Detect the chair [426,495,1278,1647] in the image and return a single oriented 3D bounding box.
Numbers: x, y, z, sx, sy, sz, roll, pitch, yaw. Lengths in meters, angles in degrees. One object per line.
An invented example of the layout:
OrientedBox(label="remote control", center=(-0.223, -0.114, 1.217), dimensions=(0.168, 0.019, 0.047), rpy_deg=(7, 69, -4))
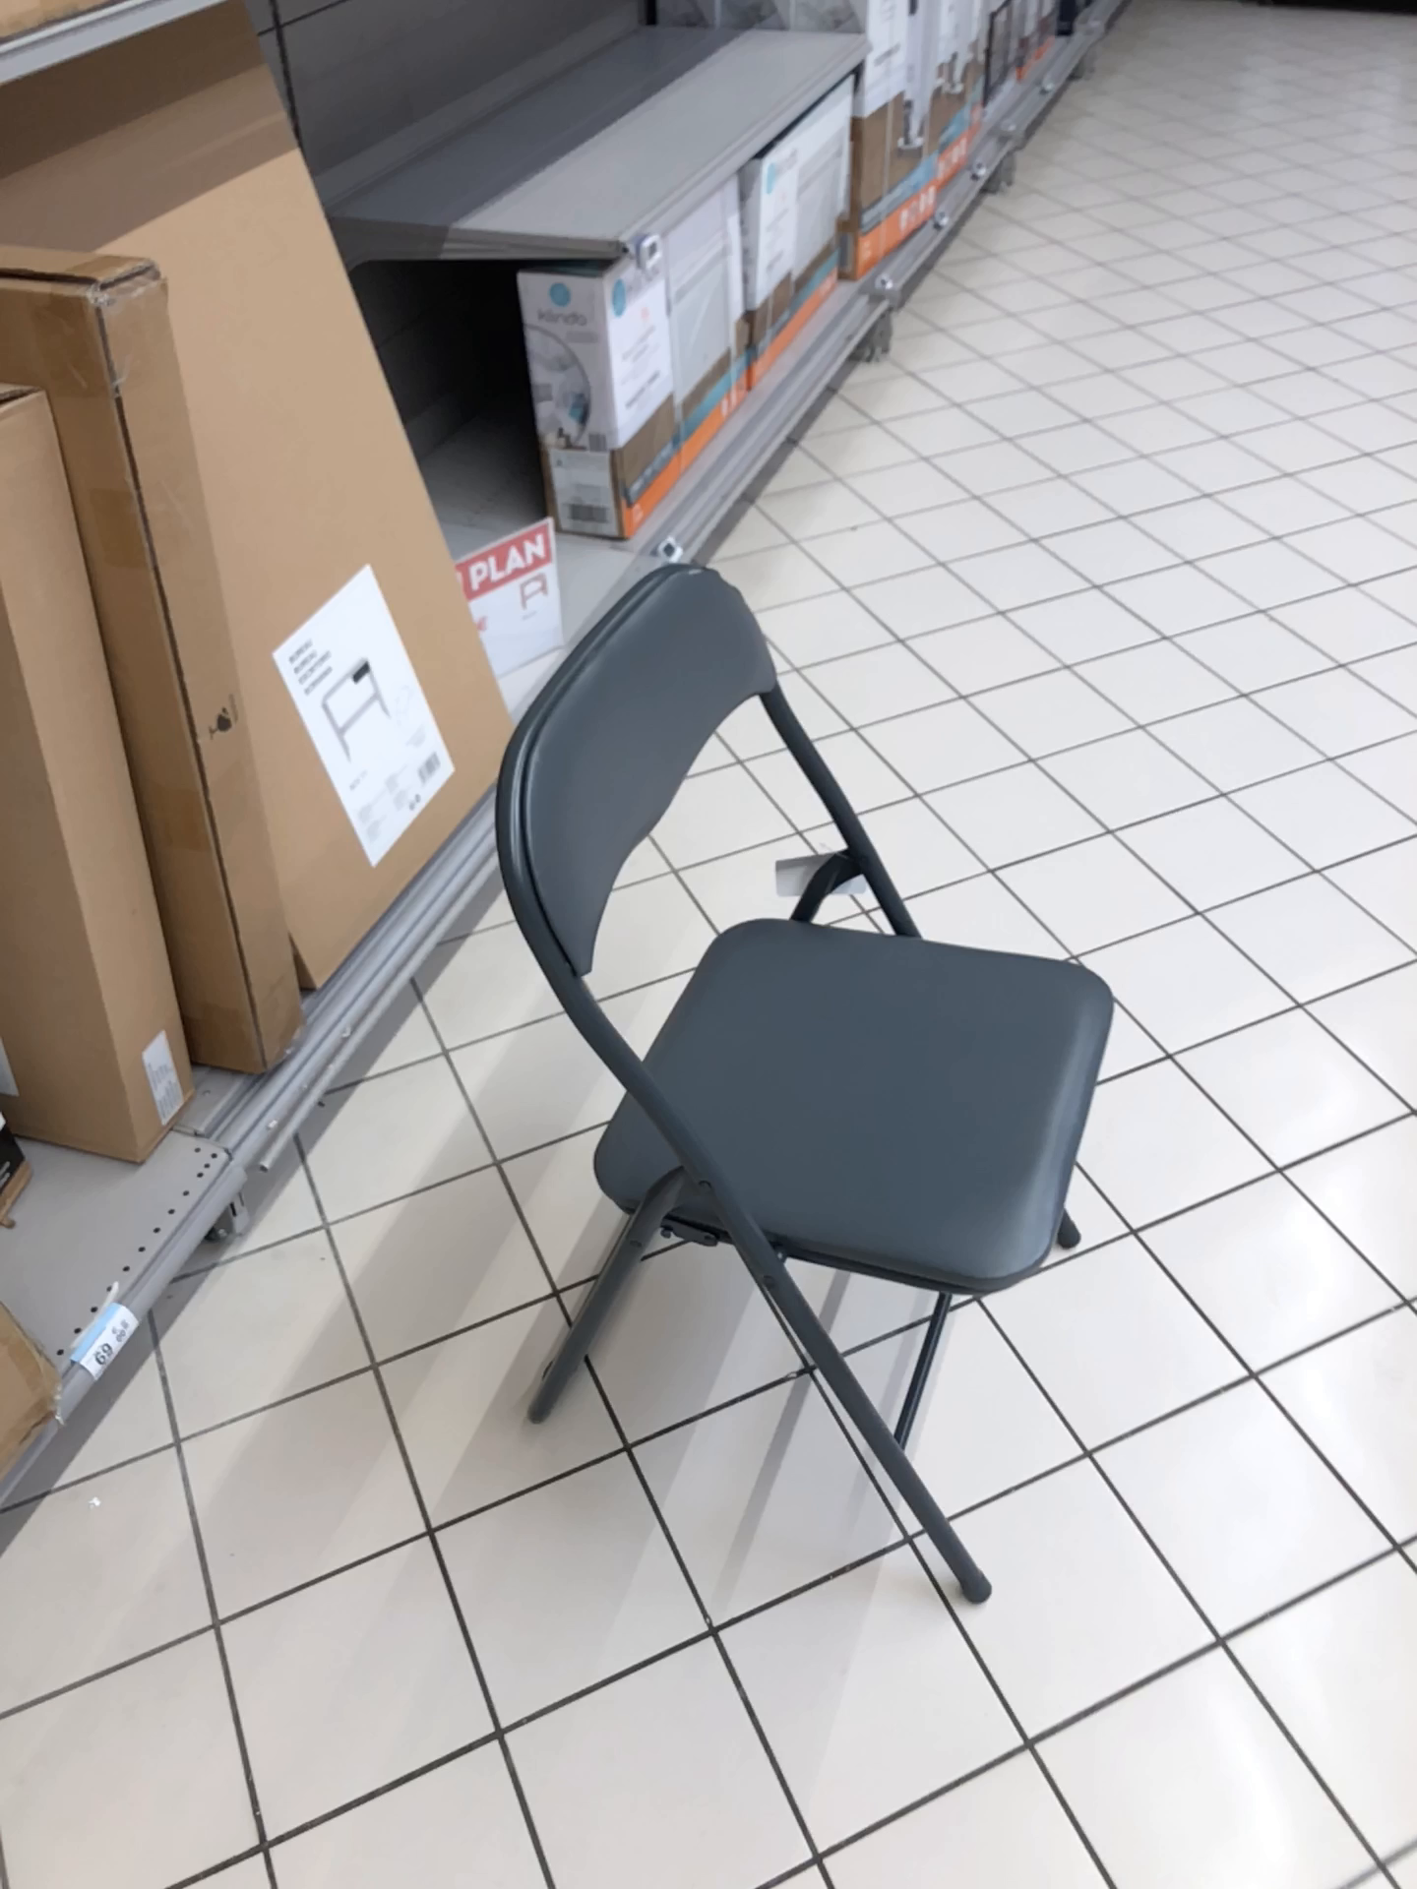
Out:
OrientedBox(label="chair", center=(0.147, 0.107, 1.370), dimensions=(0.500, 0.756, 0.554), rpy_deg=(11, 42, 14))
